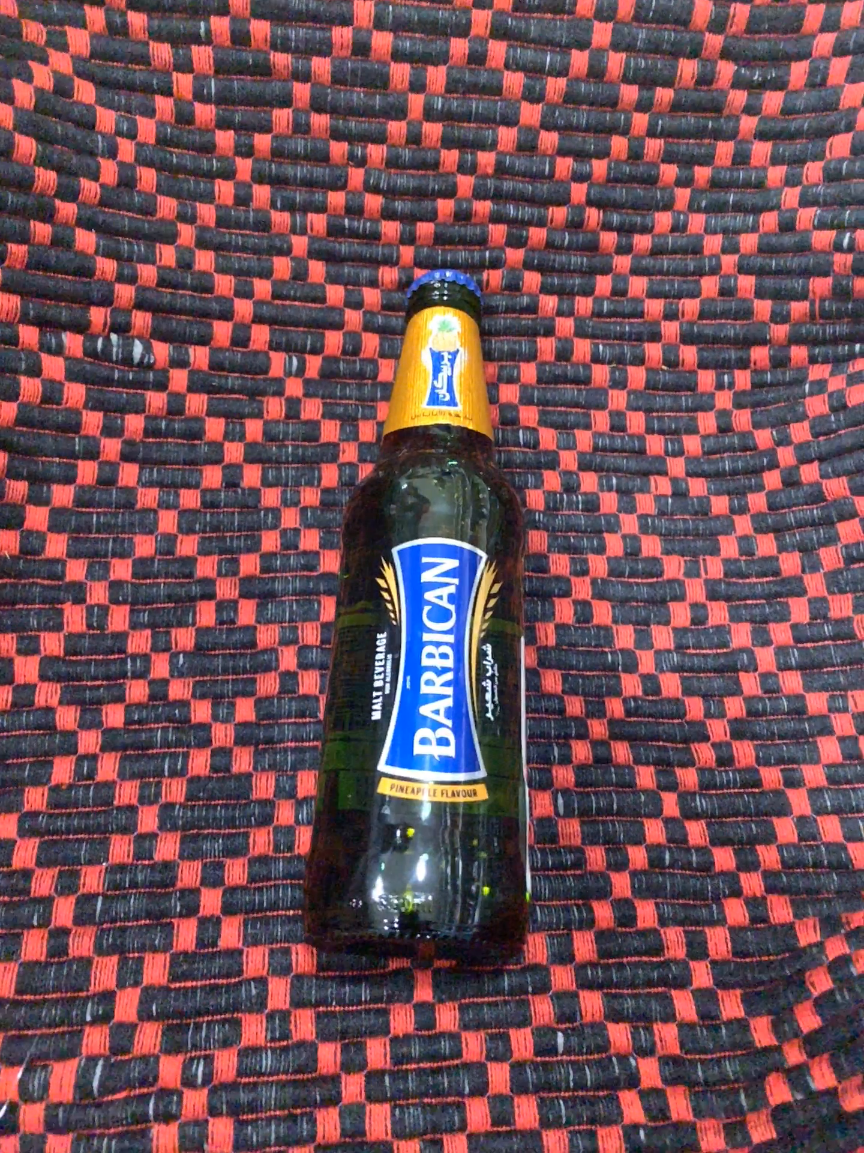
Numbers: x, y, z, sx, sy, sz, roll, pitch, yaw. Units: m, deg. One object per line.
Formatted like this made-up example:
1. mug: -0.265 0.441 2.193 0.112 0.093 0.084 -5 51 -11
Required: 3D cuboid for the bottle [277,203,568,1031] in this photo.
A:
1. bottle: -0.003 -0.003 0.278 0.060 0.070 0.250 4 59 -5
